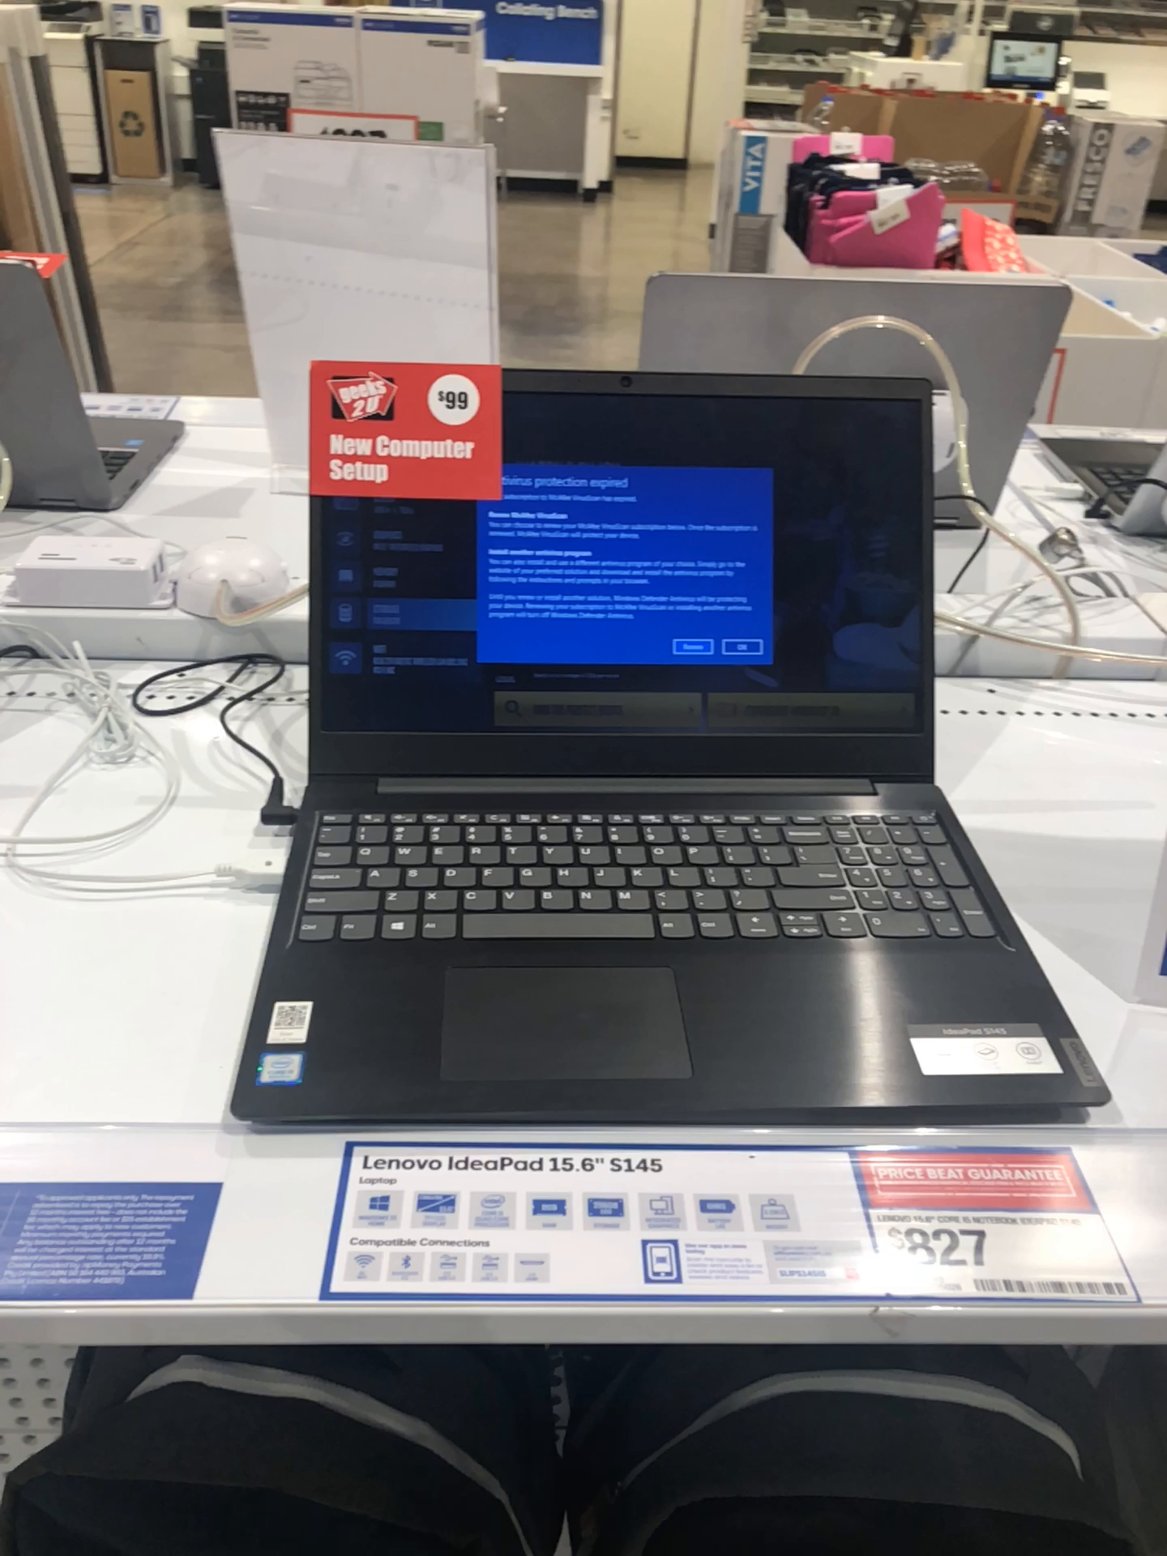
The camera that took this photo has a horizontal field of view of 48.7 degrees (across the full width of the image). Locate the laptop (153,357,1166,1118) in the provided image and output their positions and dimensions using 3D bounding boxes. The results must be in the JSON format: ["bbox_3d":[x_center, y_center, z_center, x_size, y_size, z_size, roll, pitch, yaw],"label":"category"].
[{"bbox_3d":[0.025,-0.050,0.619,0.353,0.192,0.370,0,32,-4],"label":"laptop"}]
